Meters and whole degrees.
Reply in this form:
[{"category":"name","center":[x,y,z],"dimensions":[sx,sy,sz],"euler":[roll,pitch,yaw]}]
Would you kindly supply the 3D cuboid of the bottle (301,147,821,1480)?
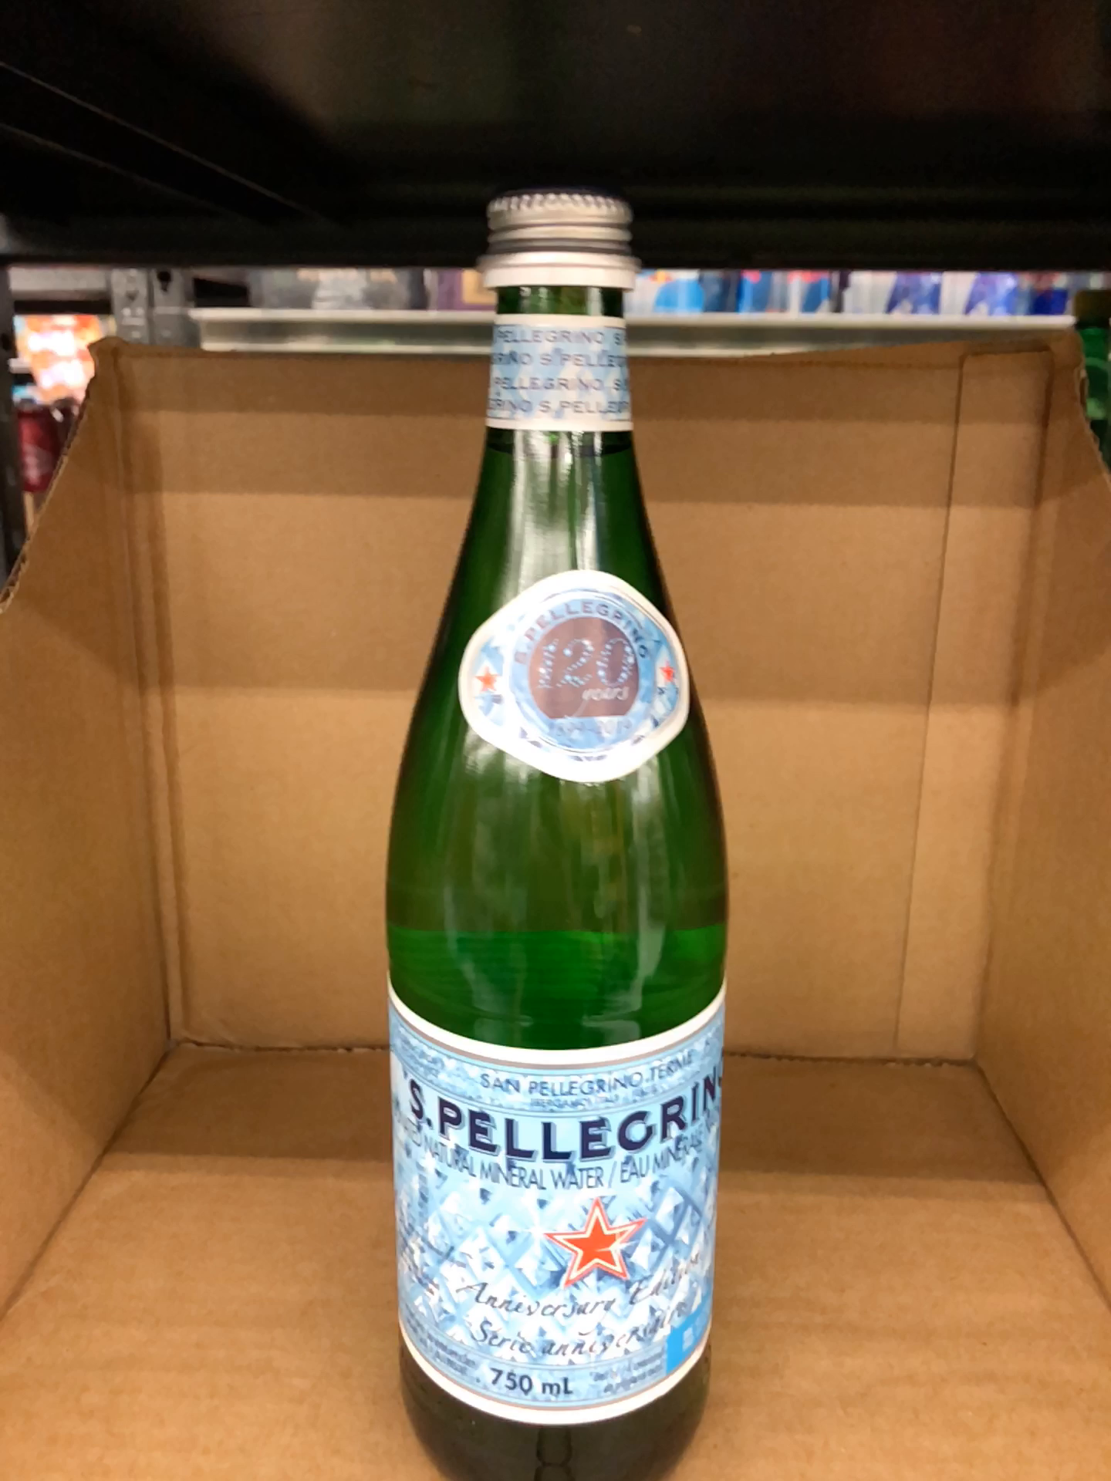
[{"category":"bottle","center":[0.000,0.033,0.262],"dimensions":[0.080,0.279,0.070],"euler":[1,16,1]}]
